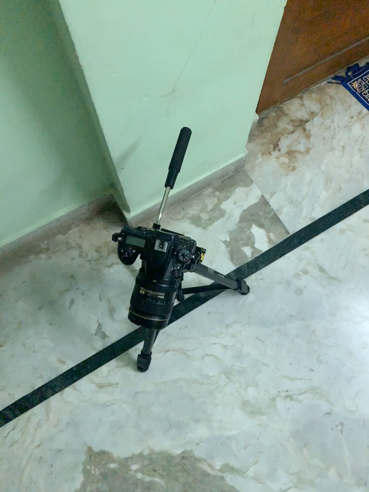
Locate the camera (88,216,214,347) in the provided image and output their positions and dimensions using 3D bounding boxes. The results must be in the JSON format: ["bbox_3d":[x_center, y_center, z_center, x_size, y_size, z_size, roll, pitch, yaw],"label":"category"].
[{"bbox_3d":[-0.055,0.055,0.685,0.170,0.110,0.180,16,97,5],"label":"camera"}]
